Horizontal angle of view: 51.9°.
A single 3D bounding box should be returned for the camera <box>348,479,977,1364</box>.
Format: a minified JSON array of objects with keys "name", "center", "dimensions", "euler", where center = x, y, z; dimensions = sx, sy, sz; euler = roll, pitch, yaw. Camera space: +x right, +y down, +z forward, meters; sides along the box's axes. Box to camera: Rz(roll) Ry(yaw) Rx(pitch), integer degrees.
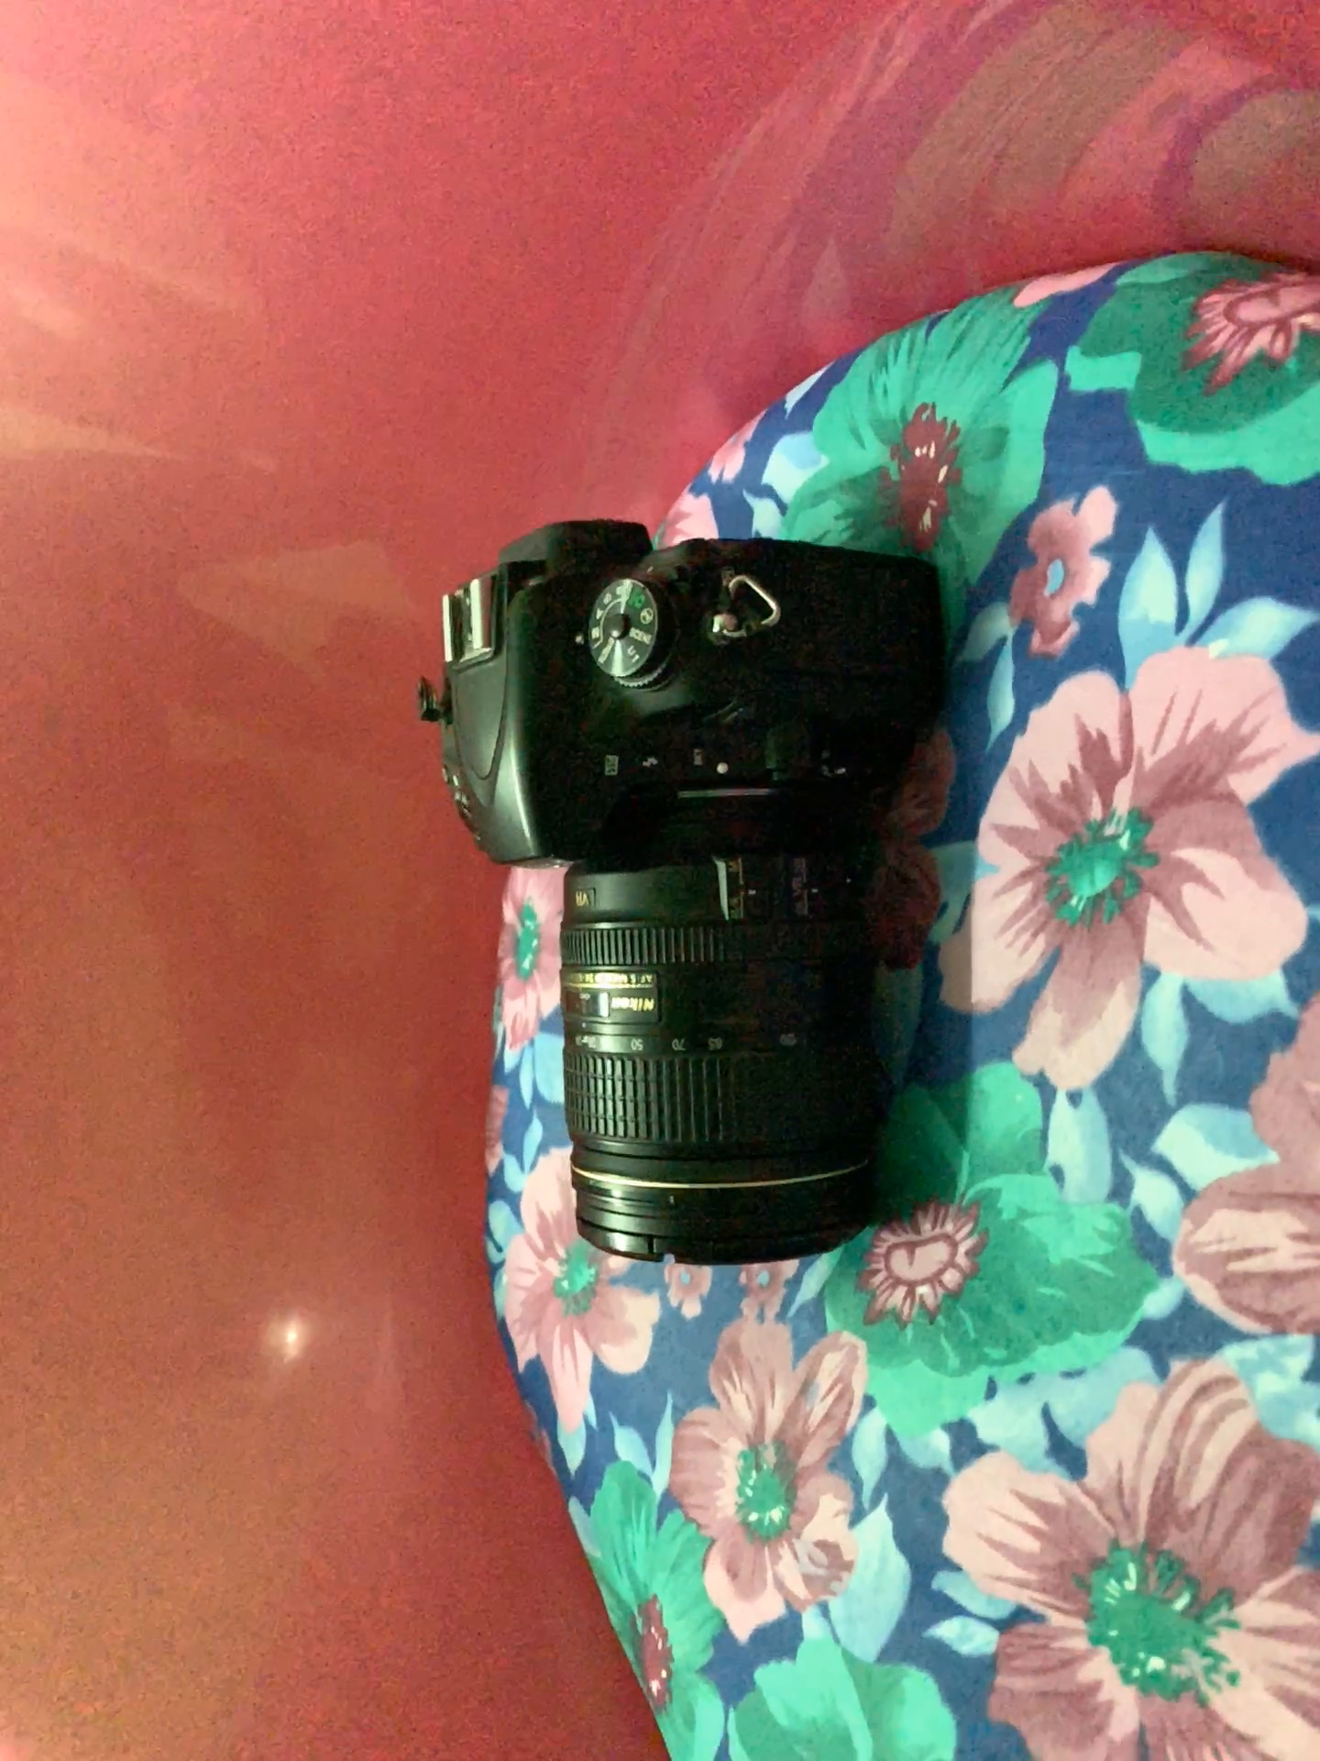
[{"name":"camera","center":[-0.006,0.012,0.364],"dimensions":[0.141,0.110,0.179],"euler":[-4,85,60]}]
